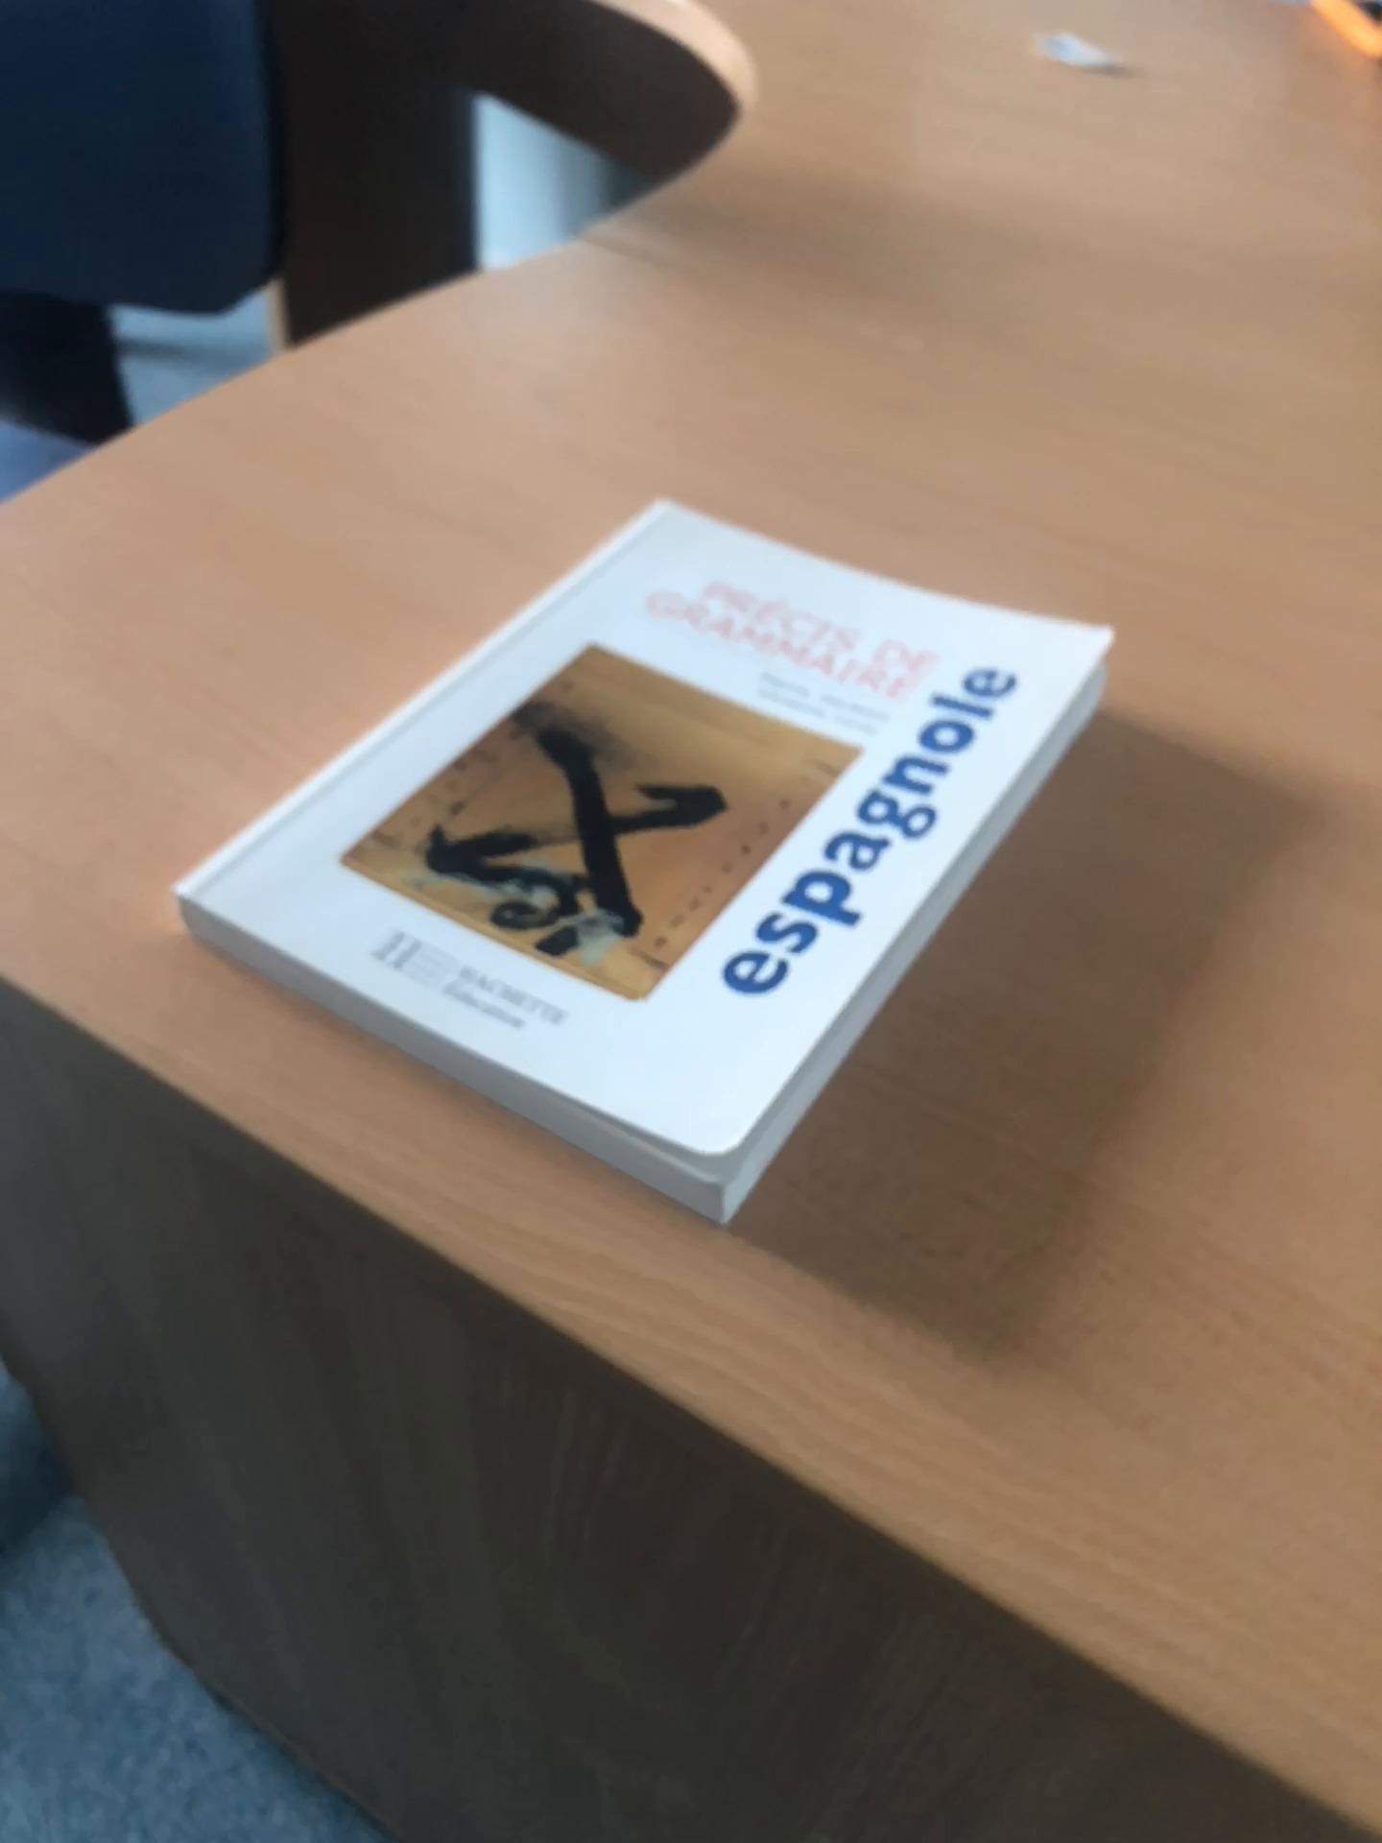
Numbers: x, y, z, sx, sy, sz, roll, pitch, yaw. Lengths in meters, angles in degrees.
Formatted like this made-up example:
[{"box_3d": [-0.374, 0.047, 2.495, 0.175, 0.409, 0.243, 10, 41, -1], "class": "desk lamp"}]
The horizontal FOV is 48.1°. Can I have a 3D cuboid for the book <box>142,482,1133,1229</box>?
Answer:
[{"box_3d": [-0.002, -0.043, 0.448, 0.180, 0.020, 0.242, 24, 49, 22], "class": "book"}]
